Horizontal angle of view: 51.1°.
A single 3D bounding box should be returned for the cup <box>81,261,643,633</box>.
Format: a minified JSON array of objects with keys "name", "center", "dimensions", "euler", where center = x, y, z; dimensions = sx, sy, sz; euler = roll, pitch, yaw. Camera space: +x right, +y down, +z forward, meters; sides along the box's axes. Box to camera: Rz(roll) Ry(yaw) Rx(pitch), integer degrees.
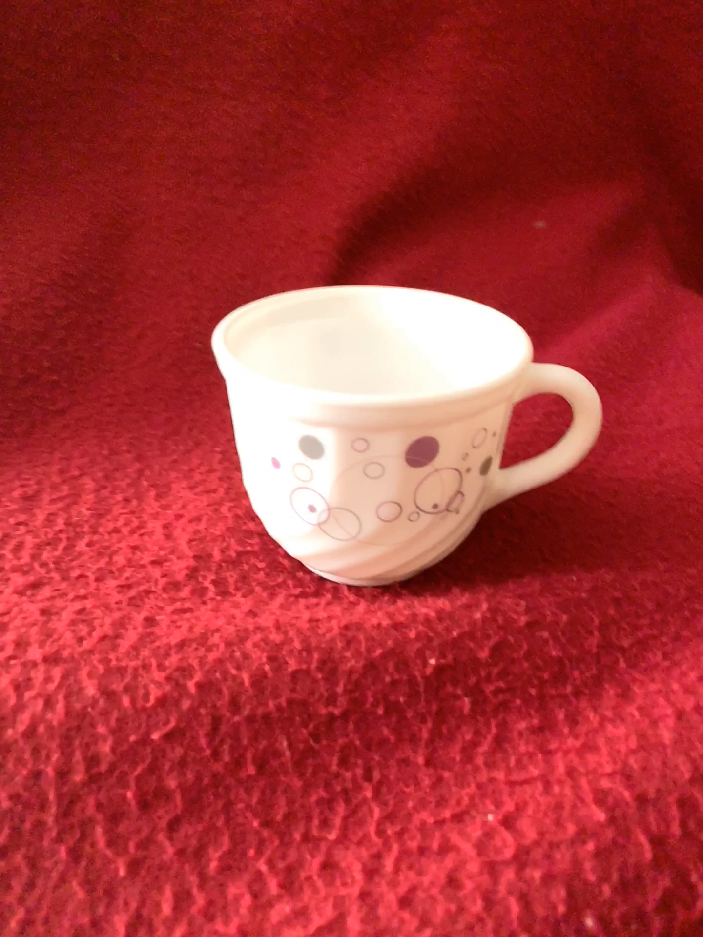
[{"name":"cup","center":[0.003,-0.011,0.178],"dimensions":[0.100,0.050,0.081],"euler":[3,34,2]}]
